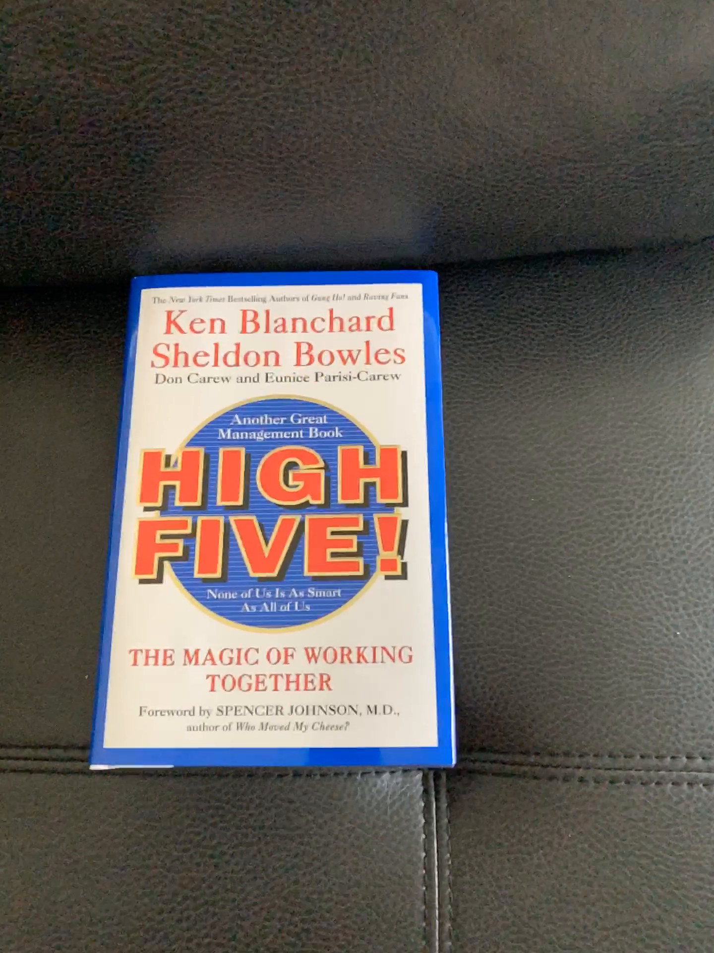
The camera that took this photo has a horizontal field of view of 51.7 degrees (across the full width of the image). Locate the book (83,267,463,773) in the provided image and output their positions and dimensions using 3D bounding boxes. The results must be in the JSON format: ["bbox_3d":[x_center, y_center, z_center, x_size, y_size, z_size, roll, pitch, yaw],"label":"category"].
[{"bbox_3d":[-0.034,0.012,0.330,0.150,0.023,0.220,-1,75,1],"label":"book"}]
